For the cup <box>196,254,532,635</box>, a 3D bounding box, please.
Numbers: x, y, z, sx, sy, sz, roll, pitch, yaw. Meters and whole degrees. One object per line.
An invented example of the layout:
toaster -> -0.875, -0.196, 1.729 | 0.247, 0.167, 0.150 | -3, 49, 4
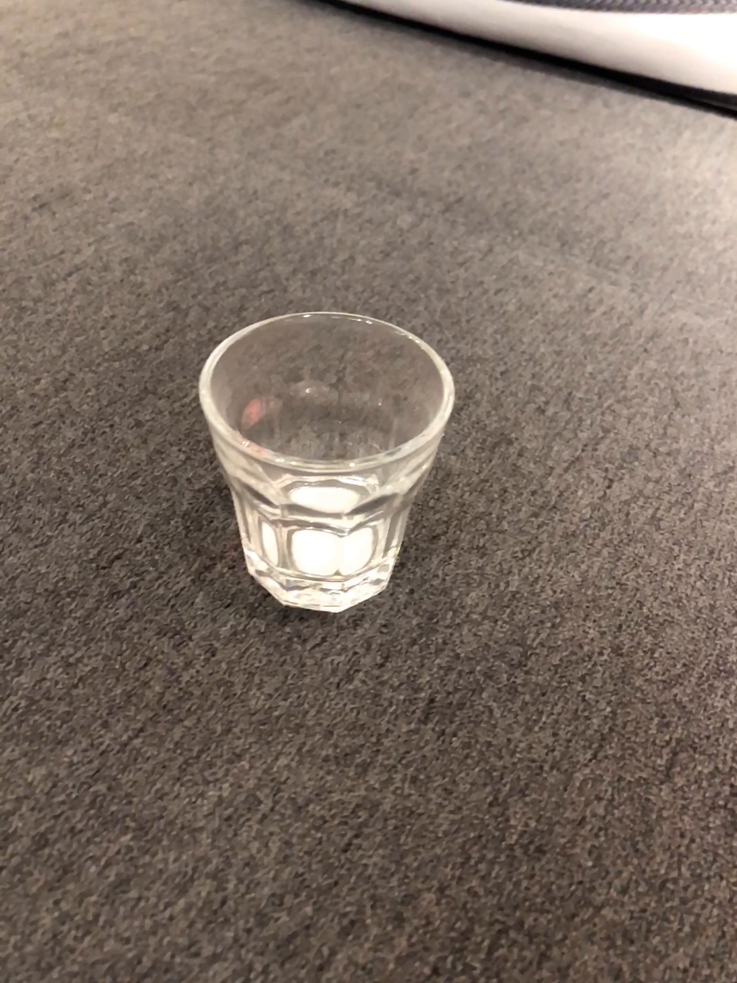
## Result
cup -> 0.001, -0.012, 0.185 | 0.060, 0.050, 0.060 | 4, 43, -3
